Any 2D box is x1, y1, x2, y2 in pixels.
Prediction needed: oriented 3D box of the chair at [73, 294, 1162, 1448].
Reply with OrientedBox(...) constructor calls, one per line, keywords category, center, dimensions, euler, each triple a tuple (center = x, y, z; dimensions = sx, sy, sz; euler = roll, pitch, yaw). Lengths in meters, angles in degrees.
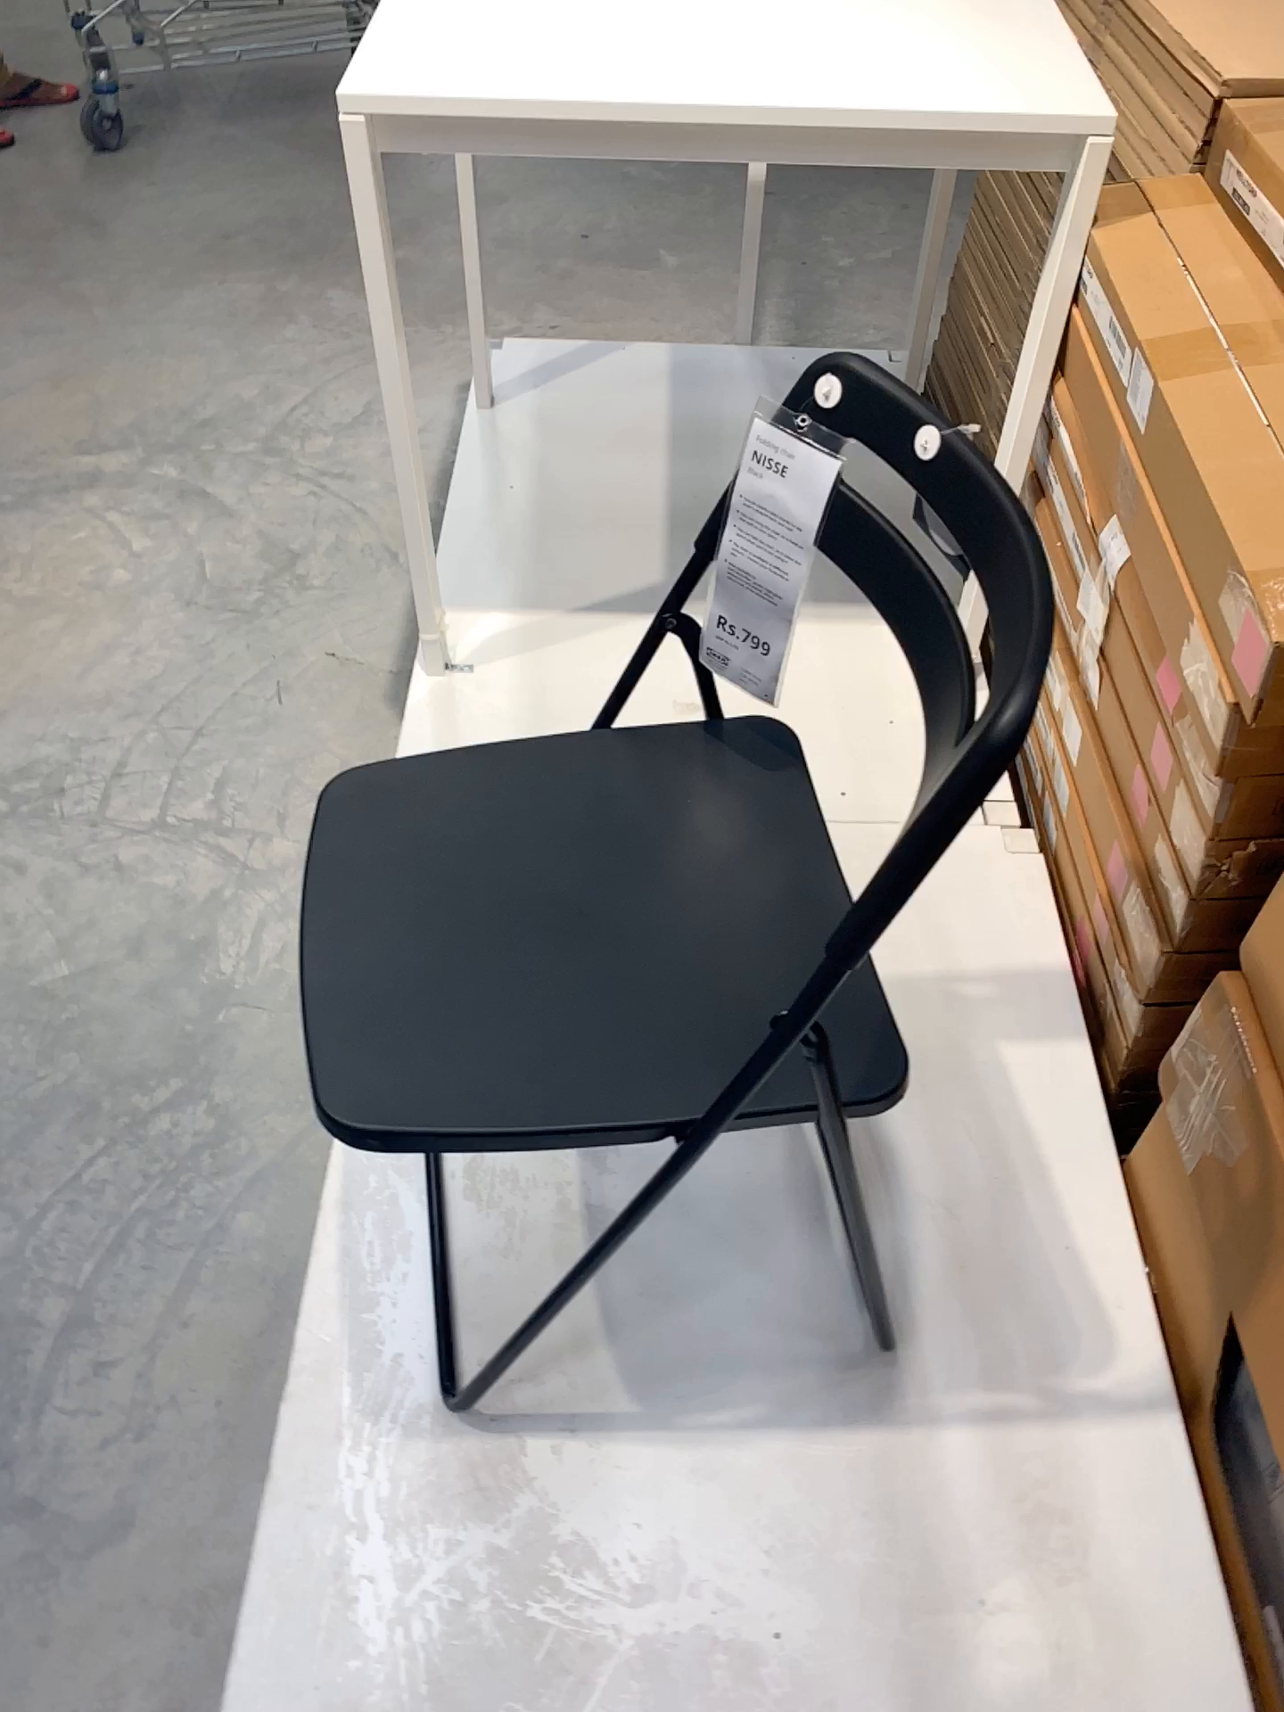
OrientedBox(category="chair", center=(-0.039, 0.041, 0.931), dimensions=(0.450, 0.658, 0.461), euler=(-6, 49, -6))
